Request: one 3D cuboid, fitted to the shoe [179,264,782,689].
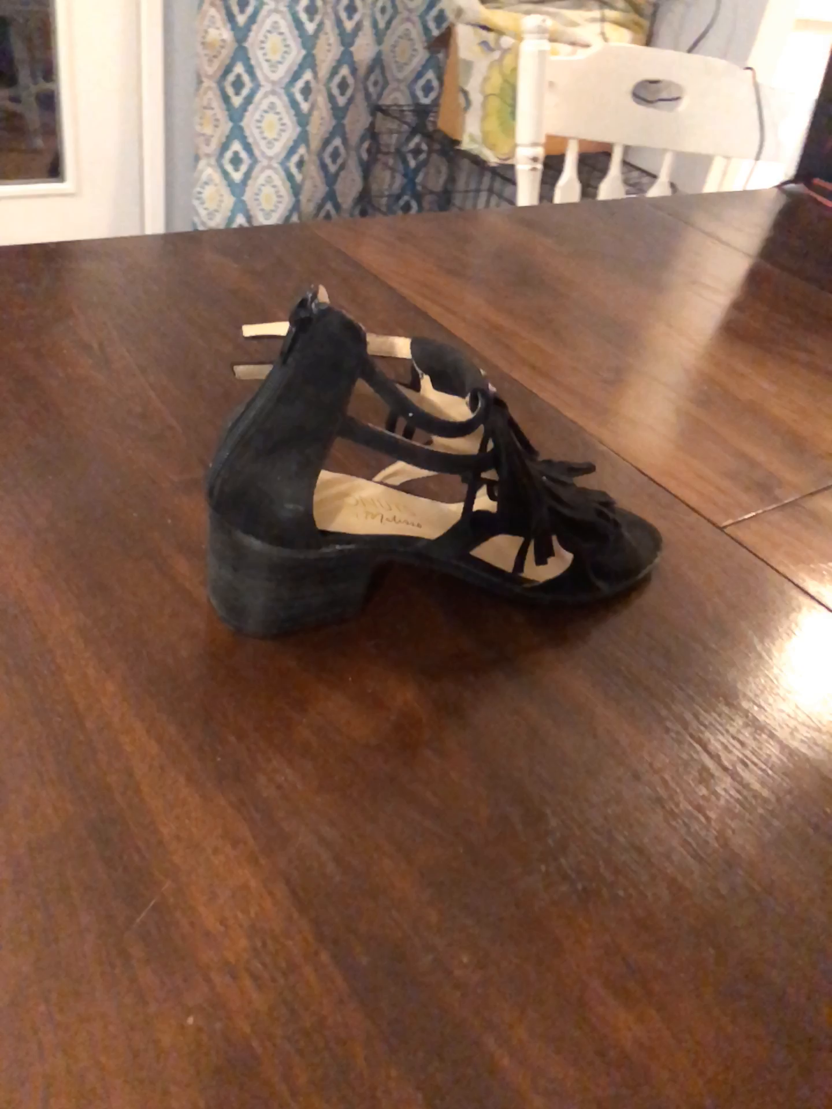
[{"bbox_3d":[0.020,-0.044,0.436,0.240,0.149,0.100,-7,41,-23],"label":"shoe"}]
